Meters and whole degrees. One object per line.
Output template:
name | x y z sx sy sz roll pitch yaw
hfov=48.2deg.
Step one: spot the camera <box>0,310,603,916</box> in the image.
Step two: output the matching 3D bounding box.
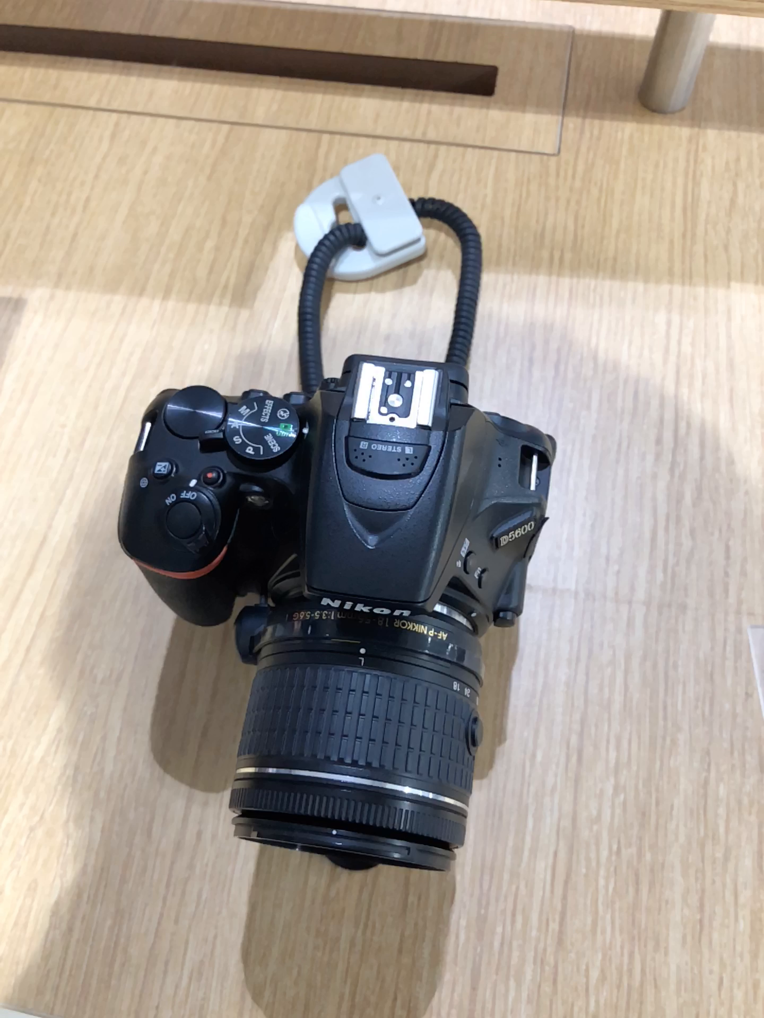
camera | -0.011 0.027 0.226 0.120 0.070 0.130 7 65 5
